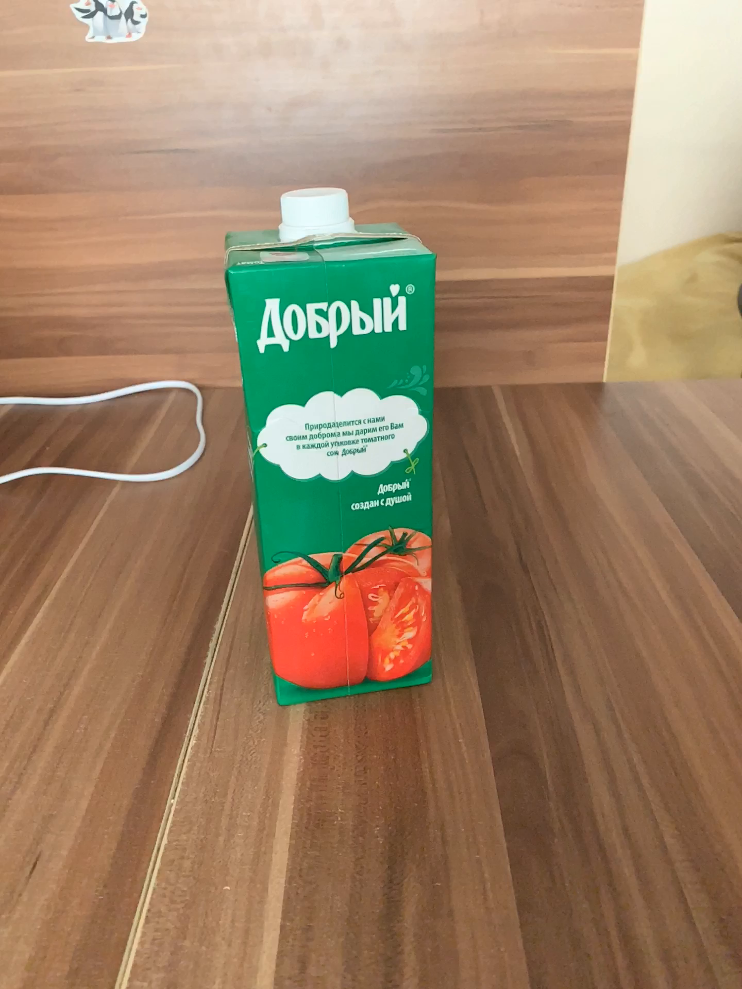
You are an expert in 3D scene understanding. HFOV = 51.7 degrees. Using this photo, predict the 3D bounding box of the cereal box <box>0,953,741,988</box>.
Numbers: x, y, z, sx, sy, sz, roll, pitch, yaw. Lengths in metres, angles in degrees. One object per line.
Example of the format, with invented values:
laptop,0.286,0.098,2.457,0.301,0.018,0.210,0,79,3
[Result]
cereal box,-0.016,0.755,0.133,0.591,0.836,0.612,-23,35,-33
